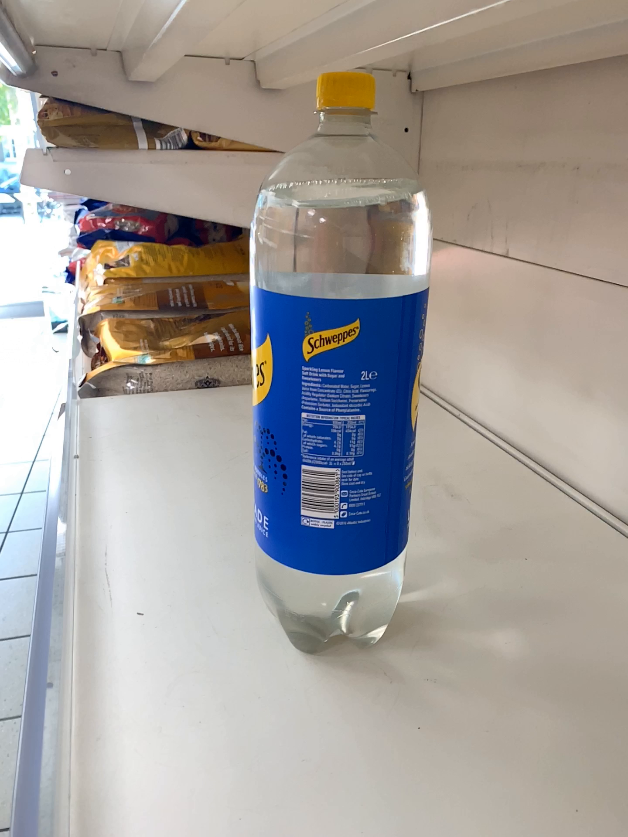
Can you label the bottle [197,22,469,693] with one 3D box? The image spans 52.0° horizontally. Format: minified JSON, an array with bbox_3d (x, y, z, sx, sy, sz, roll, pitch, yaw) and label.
[{"bbox_3d":[0.016,-0.024,0.366,0.110,0.327,0.111,1,21,0],"label":"bottle"}]
